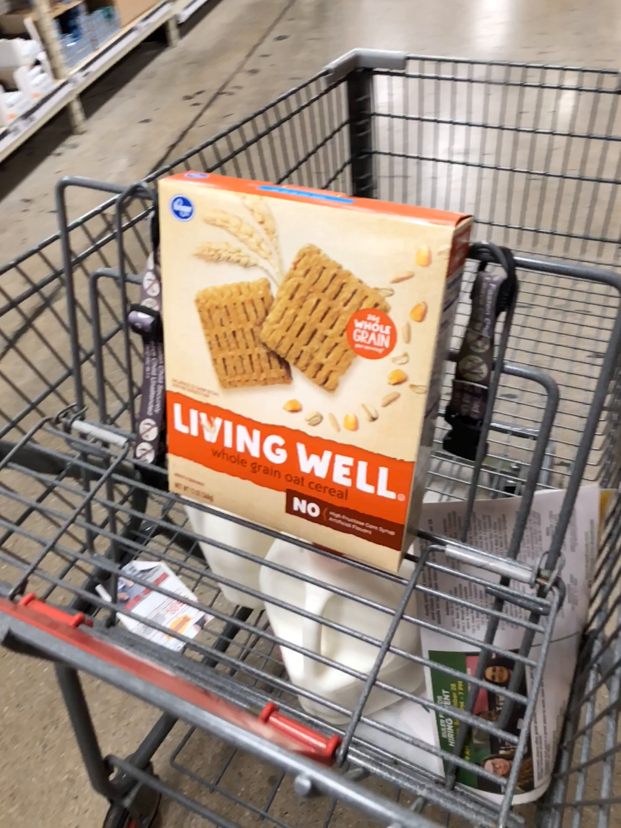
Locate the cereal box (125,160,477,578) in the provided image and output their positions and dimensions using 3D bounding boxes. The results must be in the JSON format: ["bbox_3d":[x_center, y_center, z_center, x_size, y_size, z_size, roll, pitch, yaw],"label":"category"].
[{"bbox_3d":[-0.017,-0.033,0.470,0.210,0.240,0.060,16,31,22],"label":"cereal box"}]
